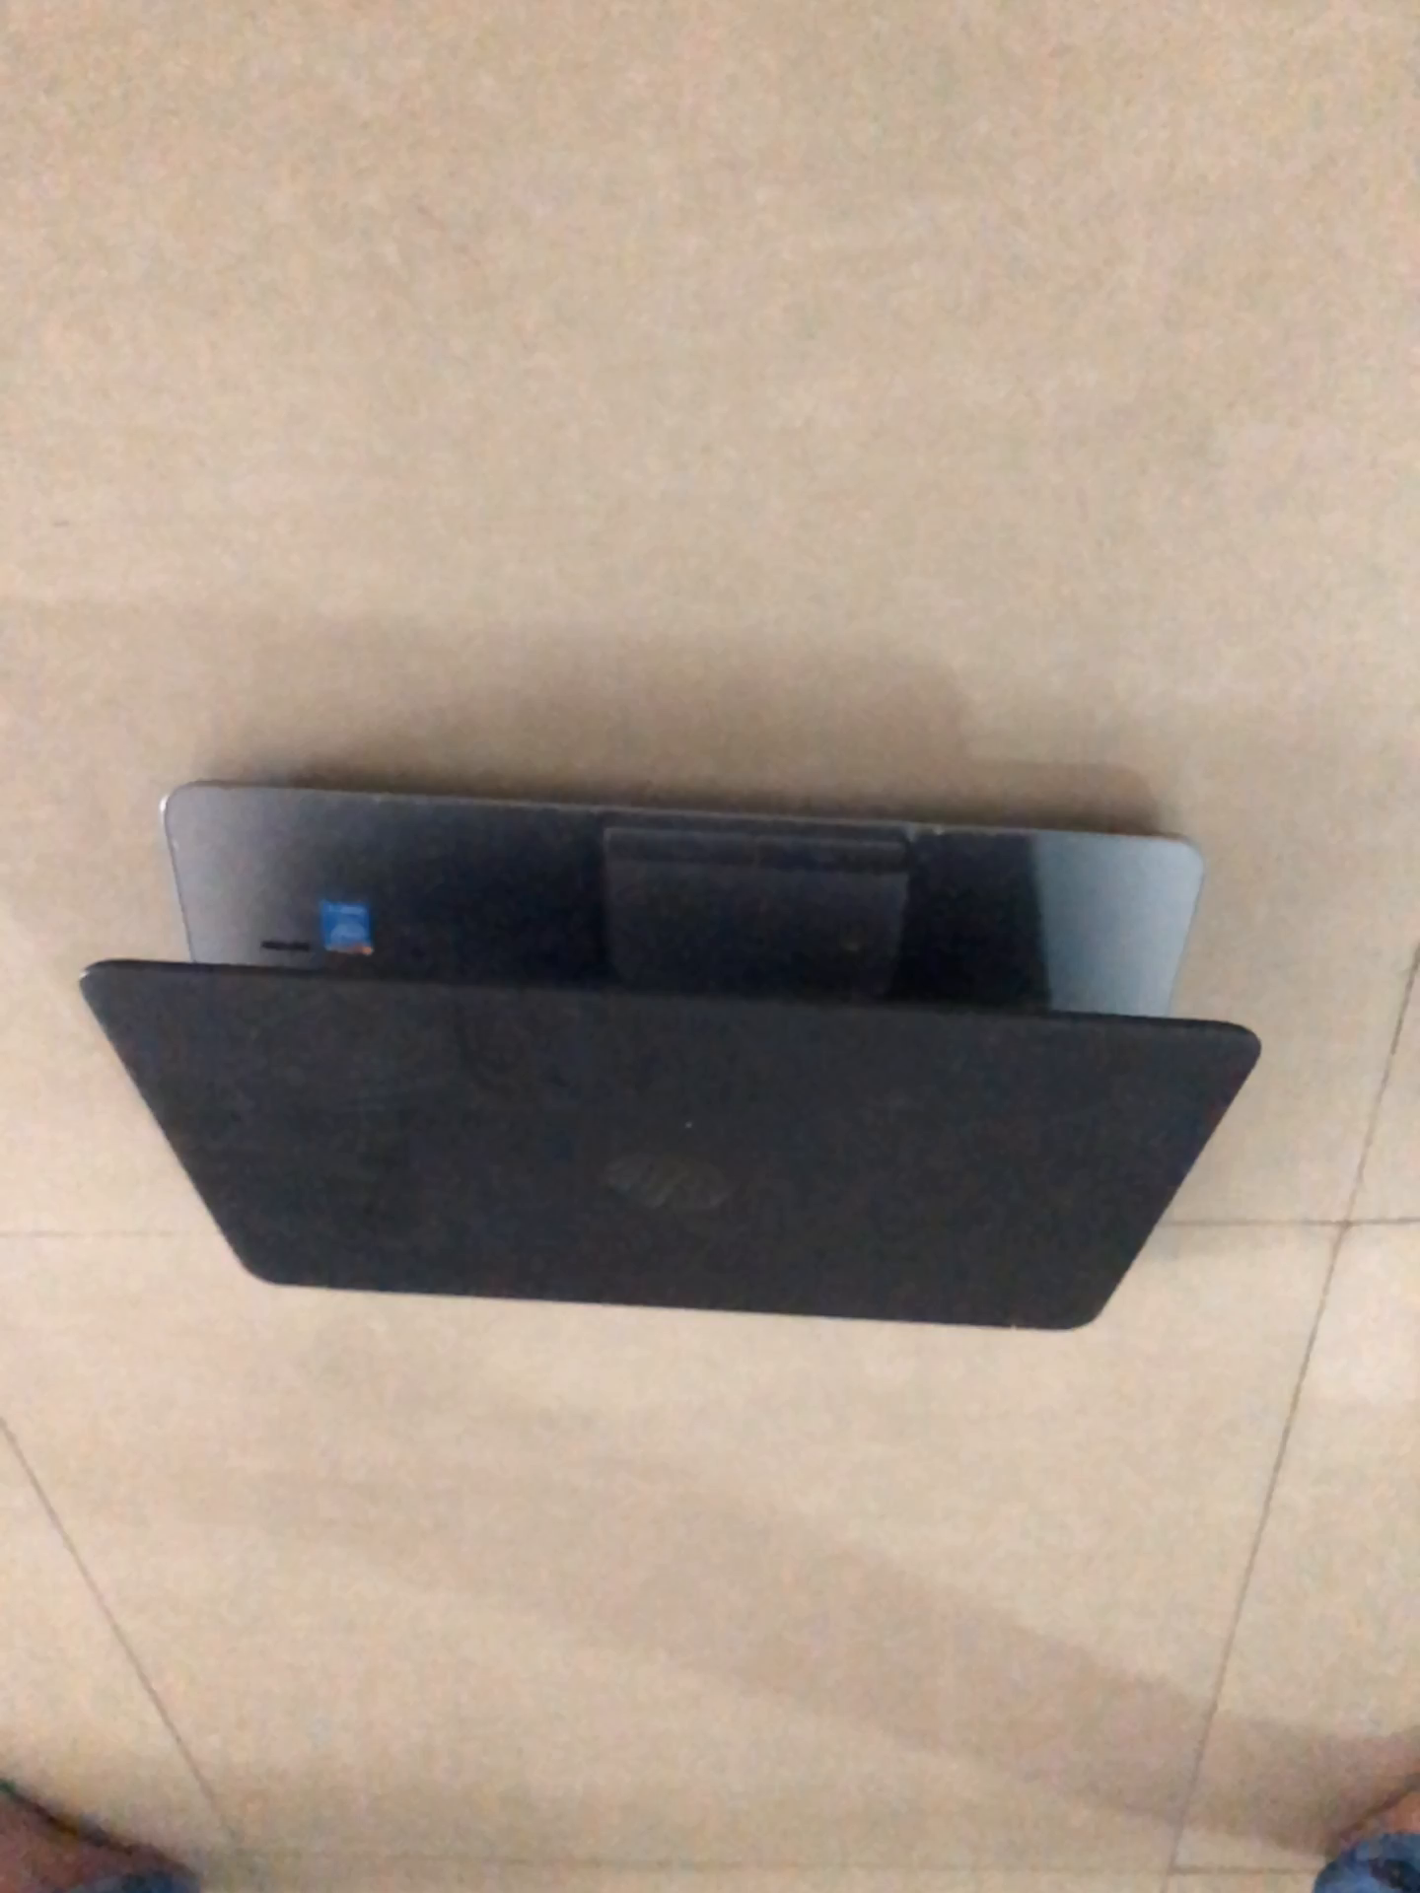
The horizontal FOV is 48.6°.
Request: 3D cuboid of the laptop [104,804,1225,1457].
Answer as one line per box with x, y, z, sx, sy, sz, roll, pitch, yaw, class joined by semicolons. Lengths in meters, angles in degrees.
-0.014;0.069;0.530;0.304;0.085;0.215;3;131;1;laptop
